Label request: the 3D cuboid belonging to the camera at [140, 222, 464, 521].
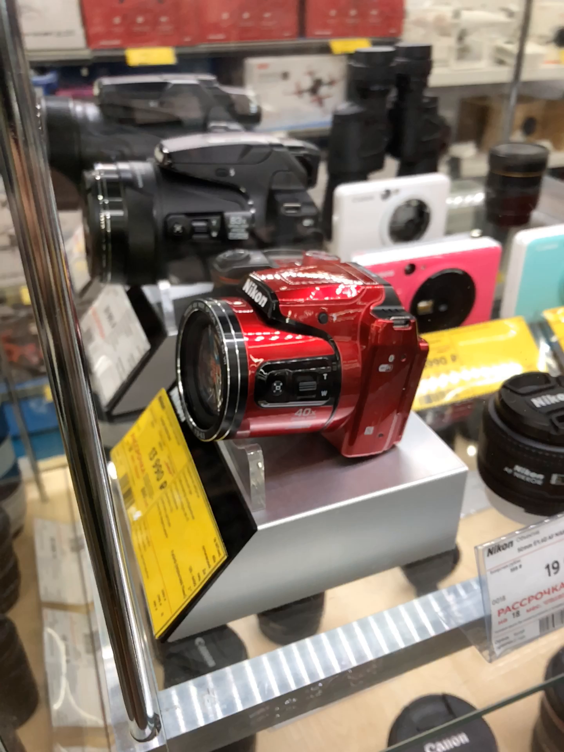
[{"bbox_3d":[0.001,-0.013,0.307,0.110,0.076,0.121,-11,33,-17],"label":"camera"}]
